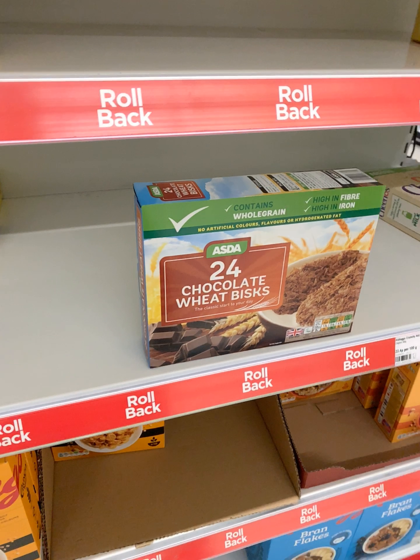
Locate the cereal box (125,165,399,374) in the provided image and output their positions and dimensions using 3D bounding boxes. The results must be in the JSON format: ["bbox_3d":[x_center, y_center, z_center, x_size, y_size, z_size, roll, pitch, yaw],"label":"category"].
[{"bbox_3d":[0.047,-0.014,0.454,0.250,0.178,0.071,-8,34,-15],"label":"cereal box"}]
